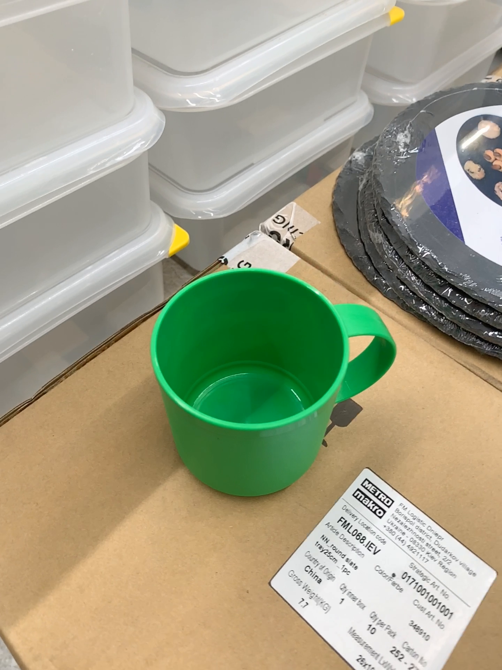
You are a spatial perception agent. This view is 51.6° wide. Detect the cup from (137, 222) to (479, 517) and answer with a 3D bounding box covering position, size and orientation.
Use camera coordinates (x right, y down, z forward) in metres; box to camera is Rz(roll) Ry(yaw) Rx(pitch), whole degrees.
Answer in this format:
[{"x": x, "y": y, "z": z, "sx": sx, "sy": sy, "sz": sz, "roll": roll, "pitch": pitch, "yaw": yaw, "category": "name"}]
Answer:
[{"x": 0.017, "y": 0.014, "z": 0.218, "sx": 0.105, "sy": 0.069, "sz": 0.076, "roll": -13, "pitch": 54, "yaw": -10, "category": "cup"}]
